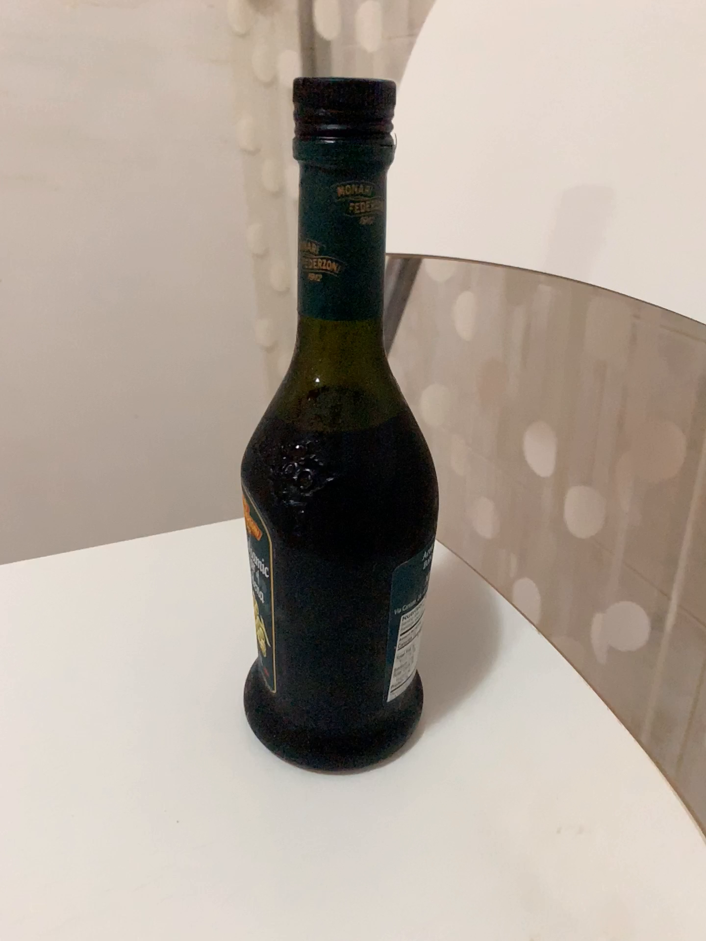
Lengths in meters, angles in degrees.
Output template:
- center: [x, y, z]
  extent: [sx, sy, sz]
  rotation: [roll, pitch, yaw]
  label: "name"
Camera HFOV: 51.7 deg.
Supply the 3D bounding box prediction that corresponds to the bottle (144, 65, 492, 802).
- center: [-0.013, -0.009, 0.270]
  extent: [0.080, 0.243, 0.090]
  rotation: [-11, 28, -16]
  label: "bottle"
